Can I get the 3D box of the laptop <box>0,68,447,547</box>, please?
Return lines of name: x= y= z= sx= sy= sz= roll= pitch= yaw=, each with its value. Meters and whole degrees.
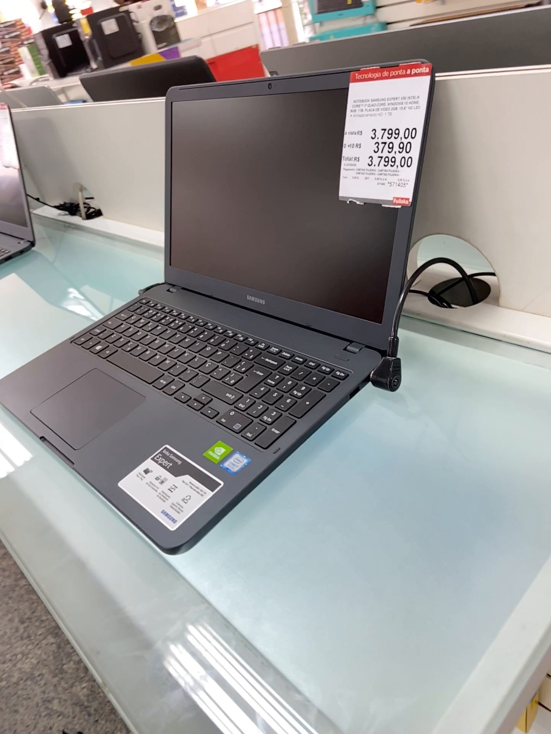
laptop: x=-0.101 y=-0.103 z=0.533 sx=0.342 sy=0.208 sz=0.364 roll=-38 pitch=39 yaw=-28
